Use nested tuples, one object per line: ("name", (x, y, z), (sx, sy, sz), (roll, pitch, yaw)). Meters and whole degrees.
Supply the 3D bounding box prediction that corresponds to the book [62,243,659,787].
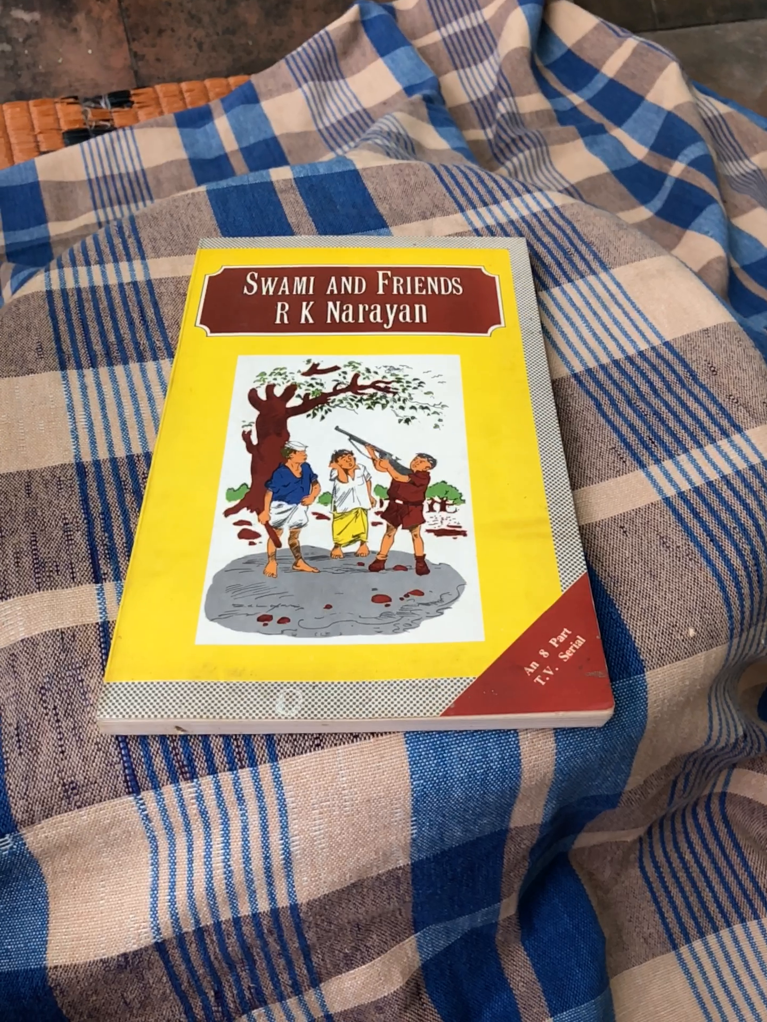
("book", (-0.004, -0.015, 0.255), (0.130, 0.020, 0.191), (0, 51, 1))
